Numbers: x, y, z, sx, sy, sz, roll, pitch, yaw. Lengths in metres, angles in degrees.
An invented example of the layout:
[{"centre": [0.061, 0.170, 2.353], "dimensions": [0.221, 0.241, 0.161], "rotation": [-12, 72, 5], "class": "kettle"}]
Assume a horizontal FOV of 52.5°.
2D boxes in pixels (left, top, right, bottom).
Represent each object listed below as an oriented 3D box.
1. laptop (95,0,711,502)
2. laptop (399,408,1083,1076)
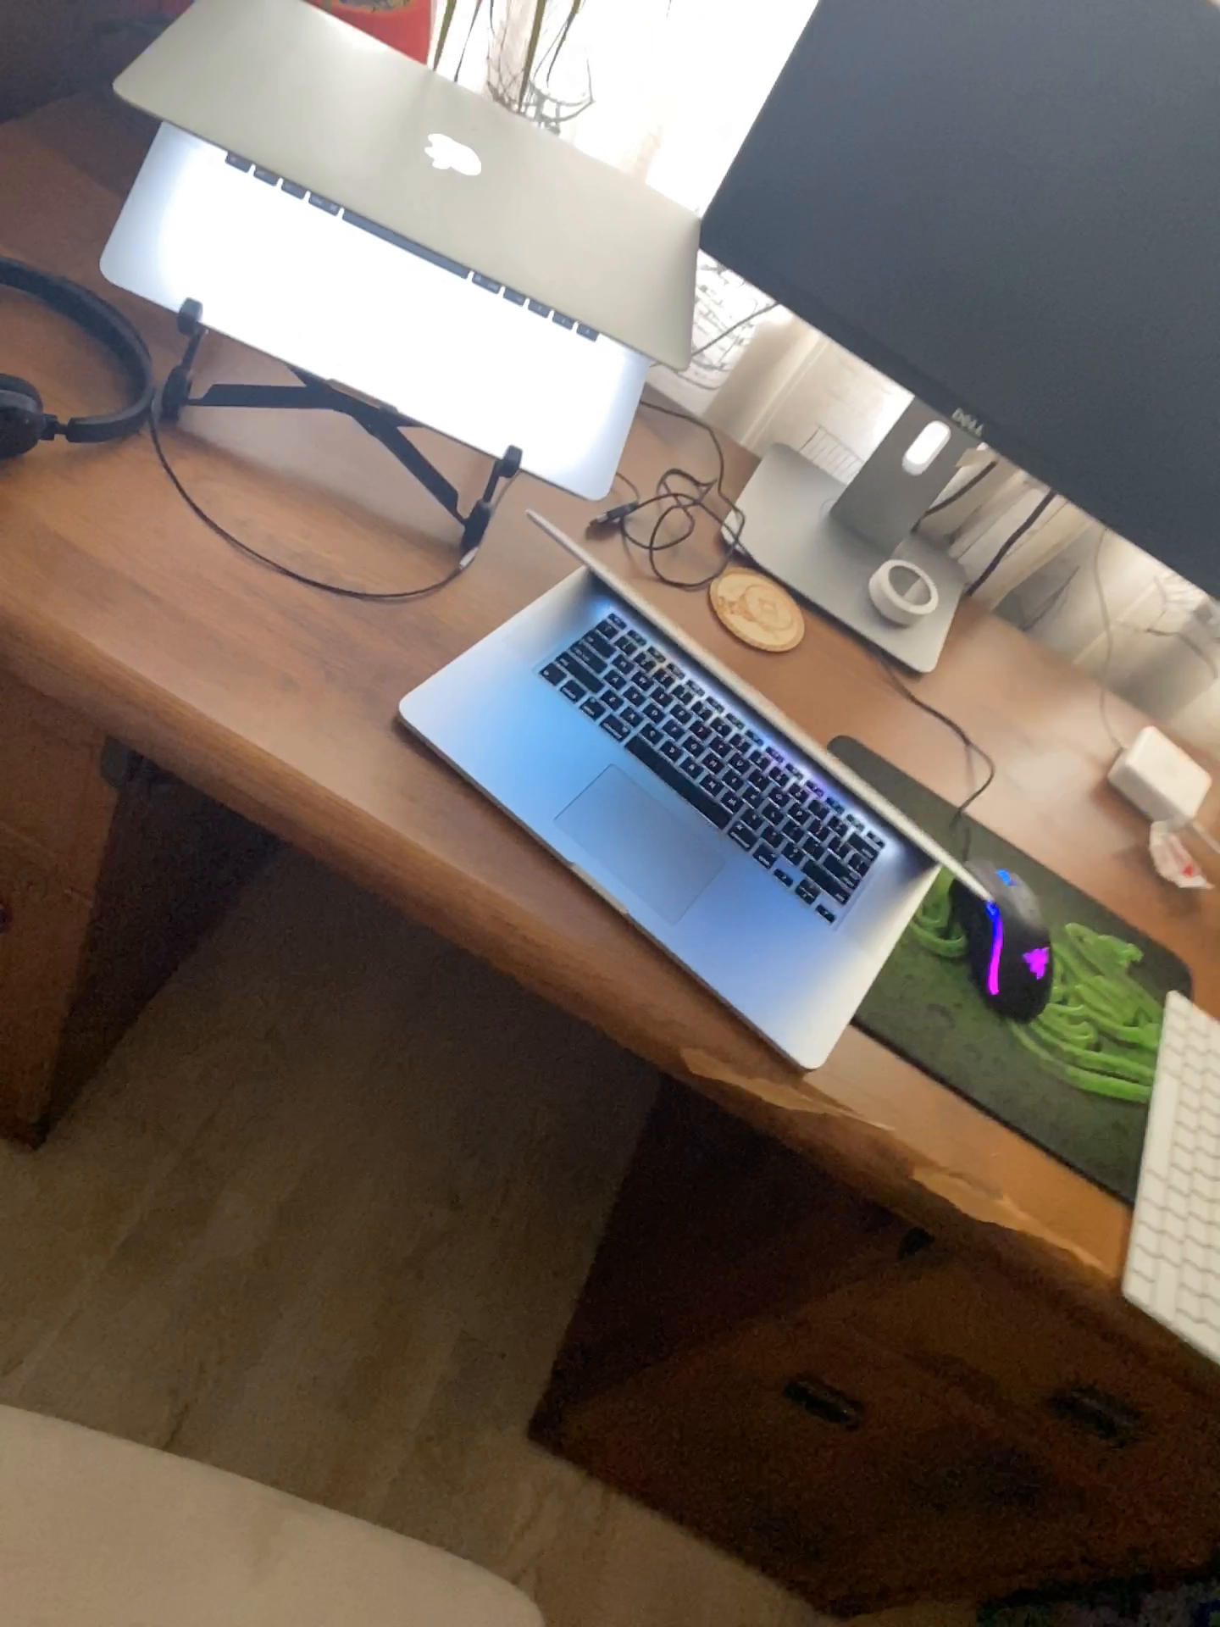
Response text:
[{"centre": [-0.125, -0.398, 0.846], "dimensions": [0.355, 0.022, 0.243], "rotation": [21, 73, -14], "class": "laptop"}, {"centre": [0.089, -0.056, 0.809], "dimensions": [0.355, 0.152, 0.236], "rotation": [41, 47, 4], "class": "laptop"}]
